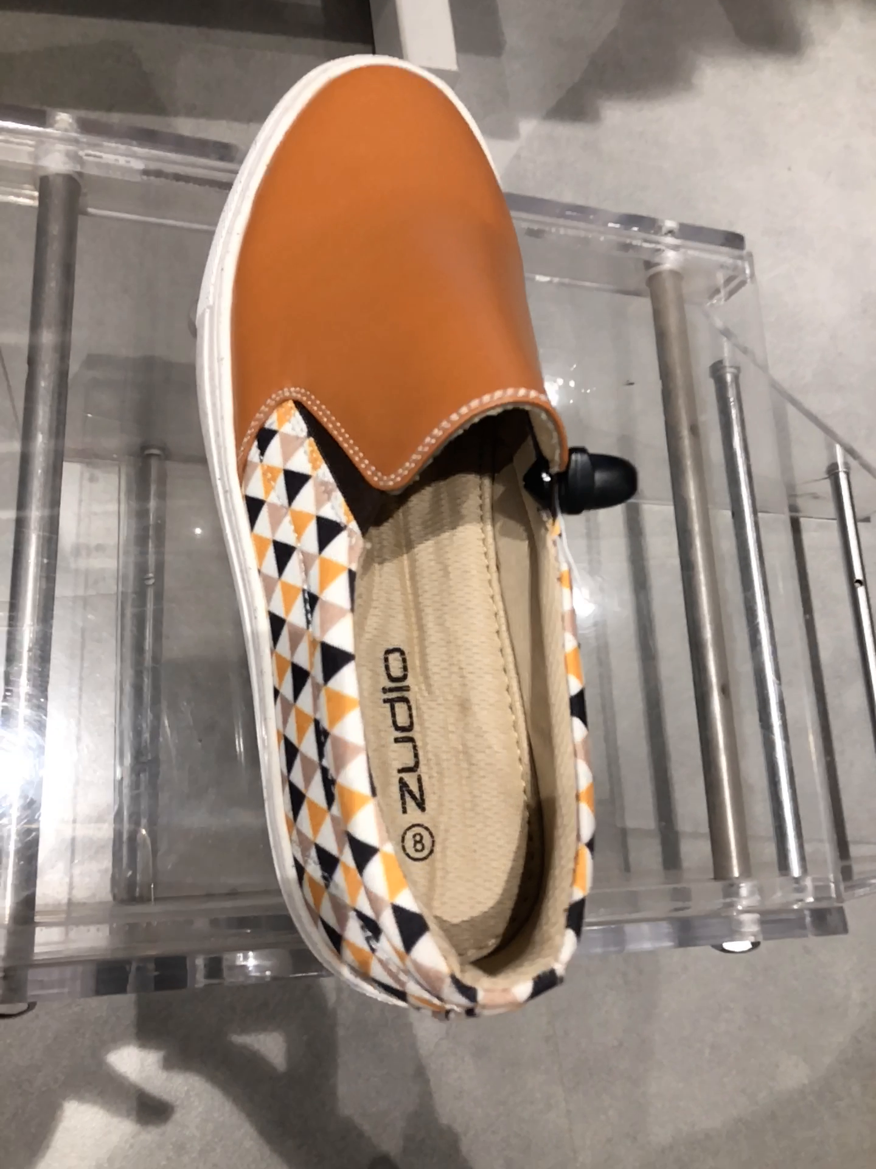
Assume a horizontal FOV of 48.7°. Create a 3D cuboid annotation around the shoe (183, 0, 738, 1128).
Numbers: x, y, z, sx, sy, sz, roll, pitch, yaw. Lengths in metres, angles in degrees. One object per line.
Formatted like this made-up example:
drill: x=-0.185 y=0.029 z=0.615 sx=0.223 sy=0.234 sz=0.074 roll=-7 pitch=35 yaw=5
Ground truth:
shoe: x=-0.012 y=-0.029 z=0.275 sx=0.110 sy=0.100 sz=0.290 roll=0 pitch=75 yaw=-18
